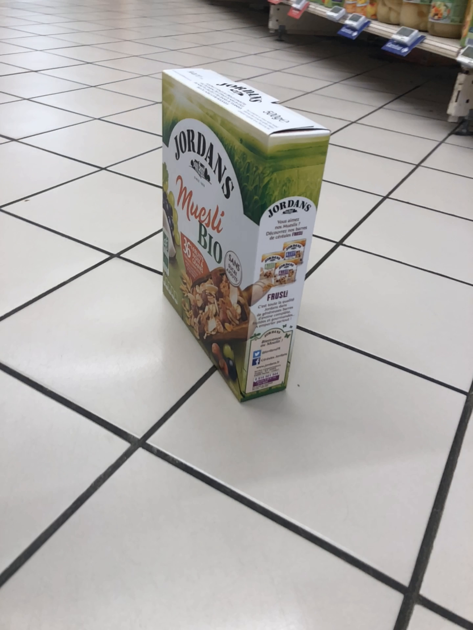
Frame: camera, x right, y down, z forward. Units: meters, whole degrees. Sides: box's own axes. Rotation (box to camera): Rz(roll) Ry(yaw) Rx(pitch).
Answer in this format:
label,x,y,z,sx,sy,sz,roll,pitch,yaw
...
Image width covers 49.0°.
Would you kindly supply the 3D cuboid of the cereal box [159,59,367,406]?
label,x,y,z,sx,sy,sz,roll,pitch,yaw
cereal box,-0.001,-0.074,0.418,0.060,0.209,0.191,-12,38,-24
